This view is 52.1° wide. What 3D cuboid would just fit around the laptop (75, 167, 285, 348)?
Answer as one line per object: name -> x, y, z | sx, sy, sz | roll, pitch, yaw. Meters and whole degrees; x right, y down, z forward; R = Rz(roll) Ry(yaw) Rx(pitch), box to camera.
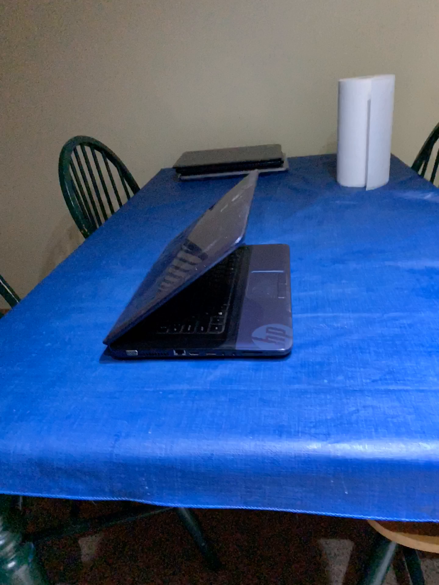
laptop -> -0.022, -0.078, 0.702 | 0.239, 0.141, 0.365 | -1, 27, 8
